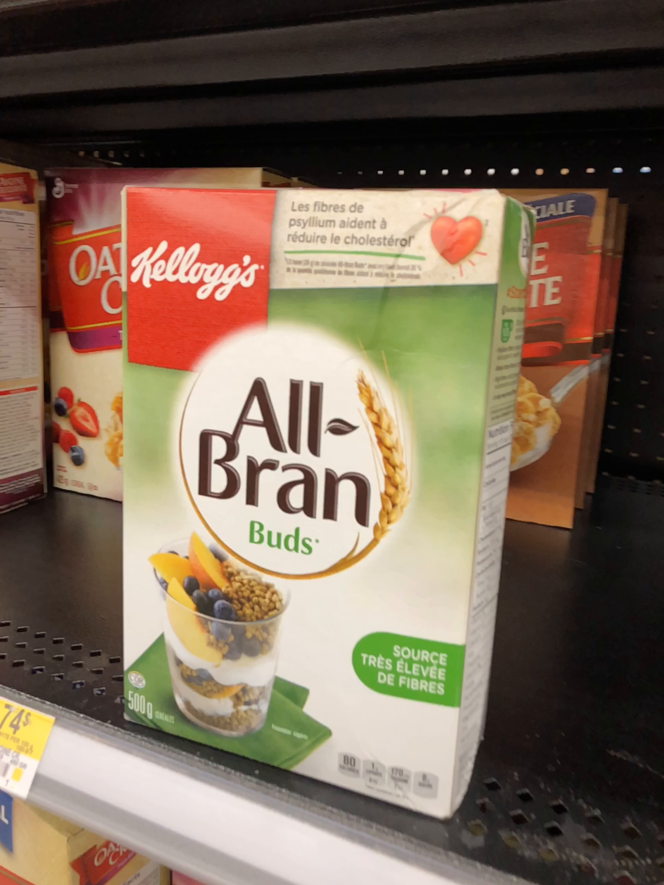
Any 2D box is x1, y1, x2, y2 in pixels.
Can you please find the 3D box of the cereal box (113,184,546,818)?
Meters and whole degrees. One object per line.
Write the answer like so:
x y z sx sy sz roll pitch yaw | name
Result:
-0.006 0.015 0.291 0.150 0.219 0.050 8 14 21 | cereal box
